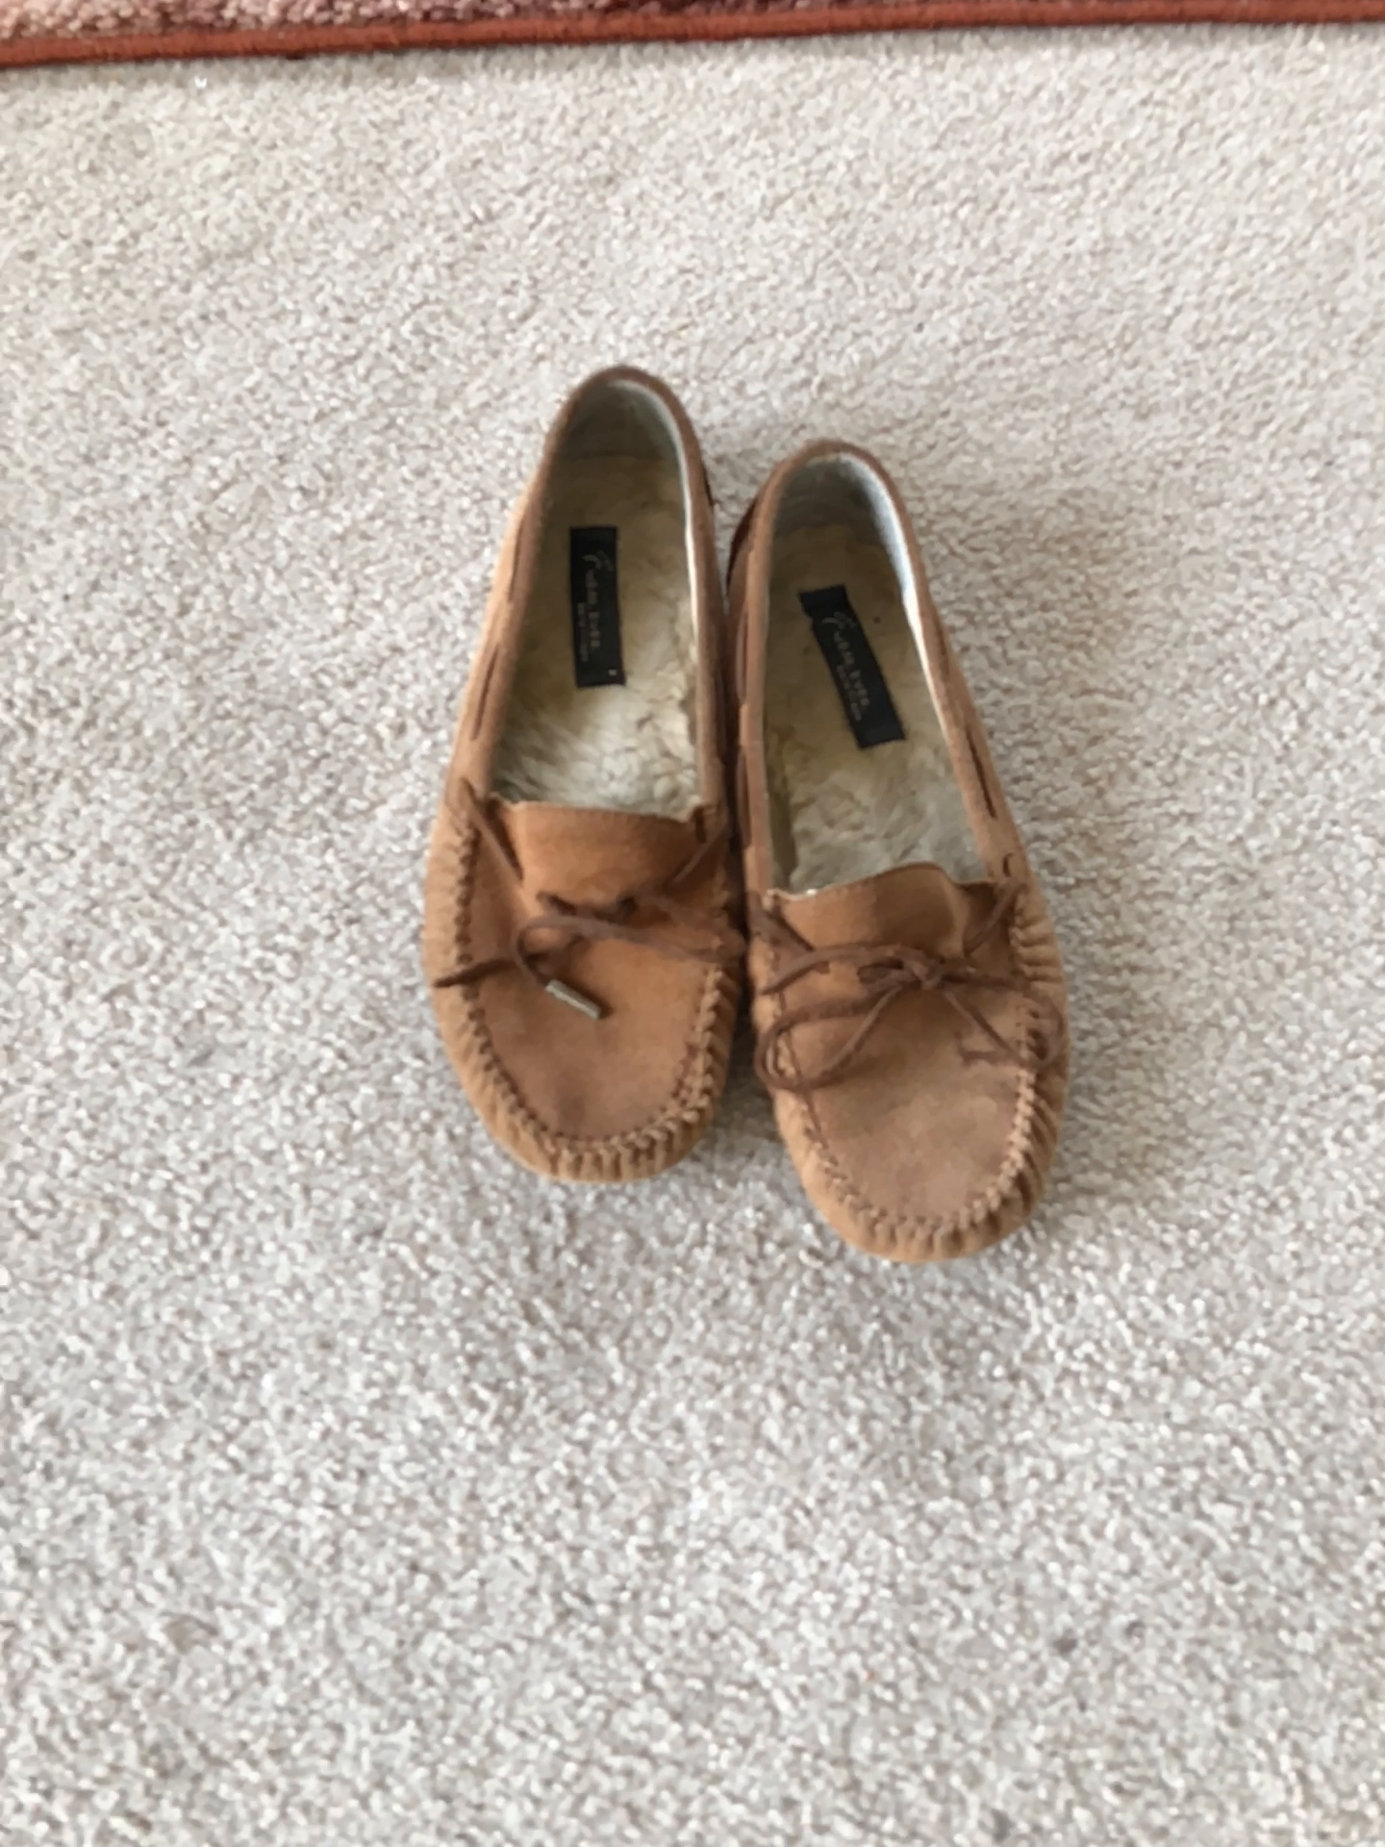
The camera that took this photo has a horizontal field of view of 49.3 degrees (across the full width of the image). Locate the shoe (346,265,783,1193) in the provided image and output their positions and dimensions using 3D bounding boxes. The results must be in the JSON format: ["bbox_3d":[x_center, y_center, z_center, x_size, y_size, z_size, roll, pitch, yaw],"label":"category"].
[{"bbox_3d":[-0.031,-0.061,0.456,0.105,0.068,0.270,3,72,-2],"label":"shoe"}]

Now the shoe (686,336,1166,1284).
[{"bbox_3d":[0.059,-0.038,0.453,0.098,0.068,0.274,-3,72,-4],"label":"shoe"}]
